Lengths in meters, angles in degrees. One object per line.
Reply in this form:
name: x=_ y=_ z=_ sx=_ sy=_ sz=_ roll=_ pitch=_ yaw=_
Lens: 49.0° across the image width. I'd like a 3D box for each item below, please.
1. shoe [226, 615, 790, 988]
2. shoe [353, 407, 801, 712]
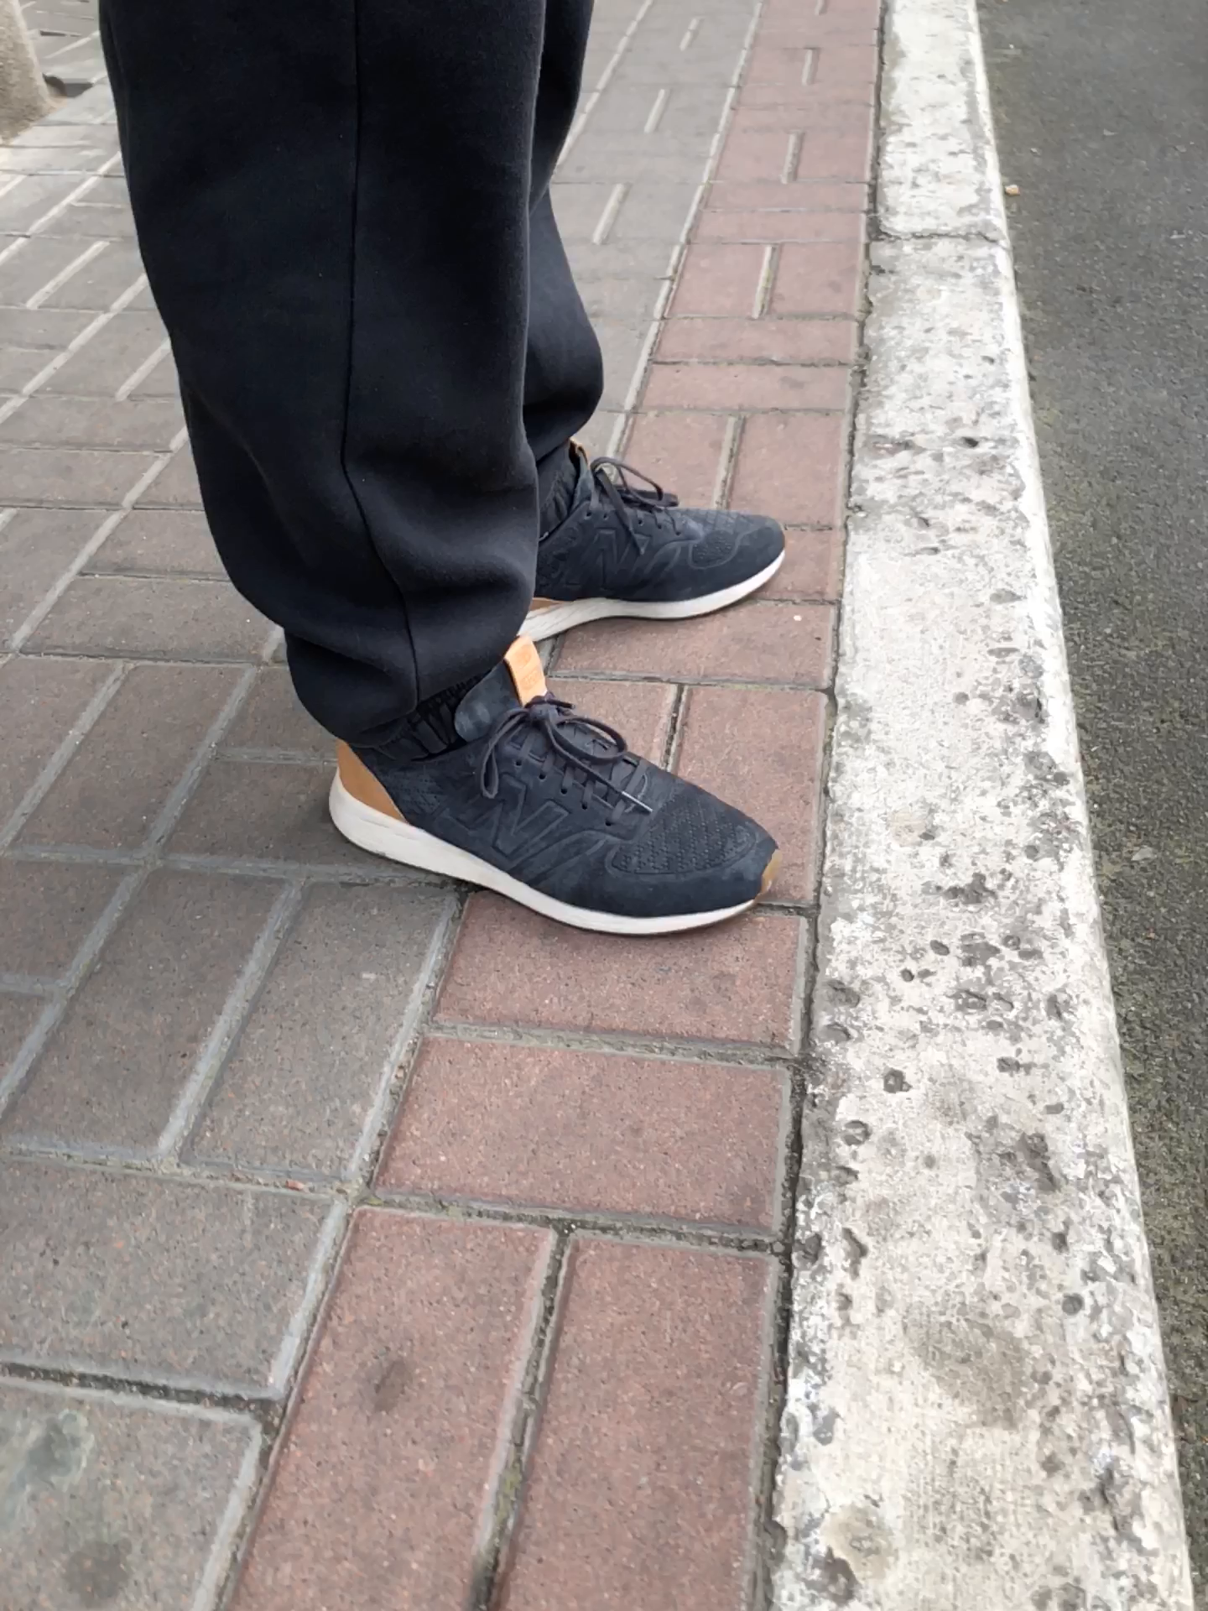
shoe: x=-0.048 y=-0.009 z=0.728 sx=0.280 sy=0.109 sz=0.105 roll=13 pitch=45 yaw=21
shoe: x=-0.015 y=-0.173 z=0.914 sx=0.280 sy=0.109 sz=0.105 roll=-16 pitch=42 yaw=-10
